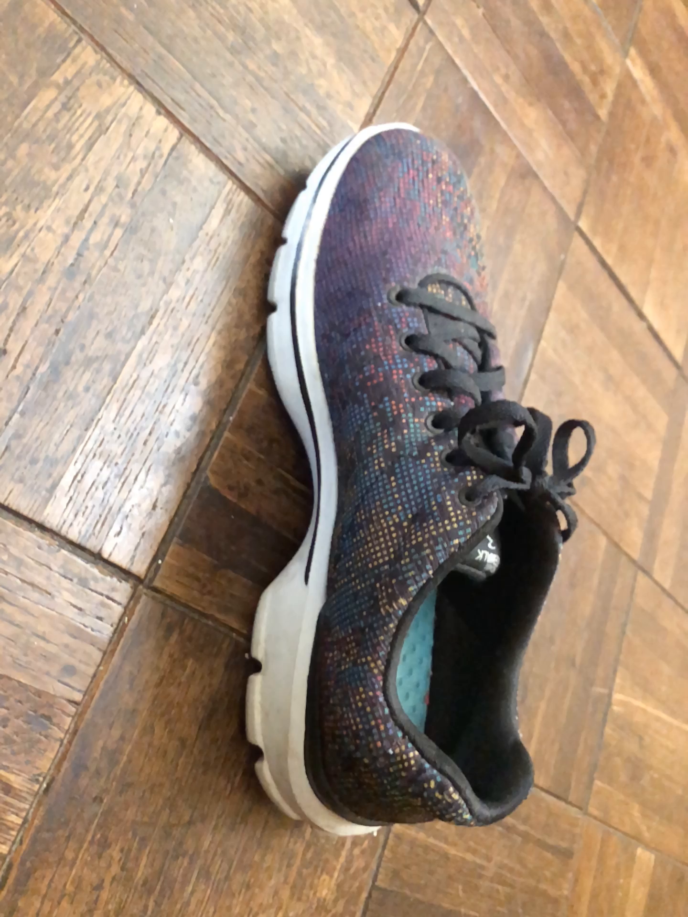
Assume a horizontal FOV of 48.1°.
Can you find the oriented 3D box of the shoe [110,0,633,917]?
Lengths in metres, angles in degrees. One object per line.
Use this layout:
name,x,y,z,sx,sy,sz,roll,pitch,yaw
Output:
shoe,0.016,-0.003,0.282,0.111,0.119,0.290,16,76,-40
